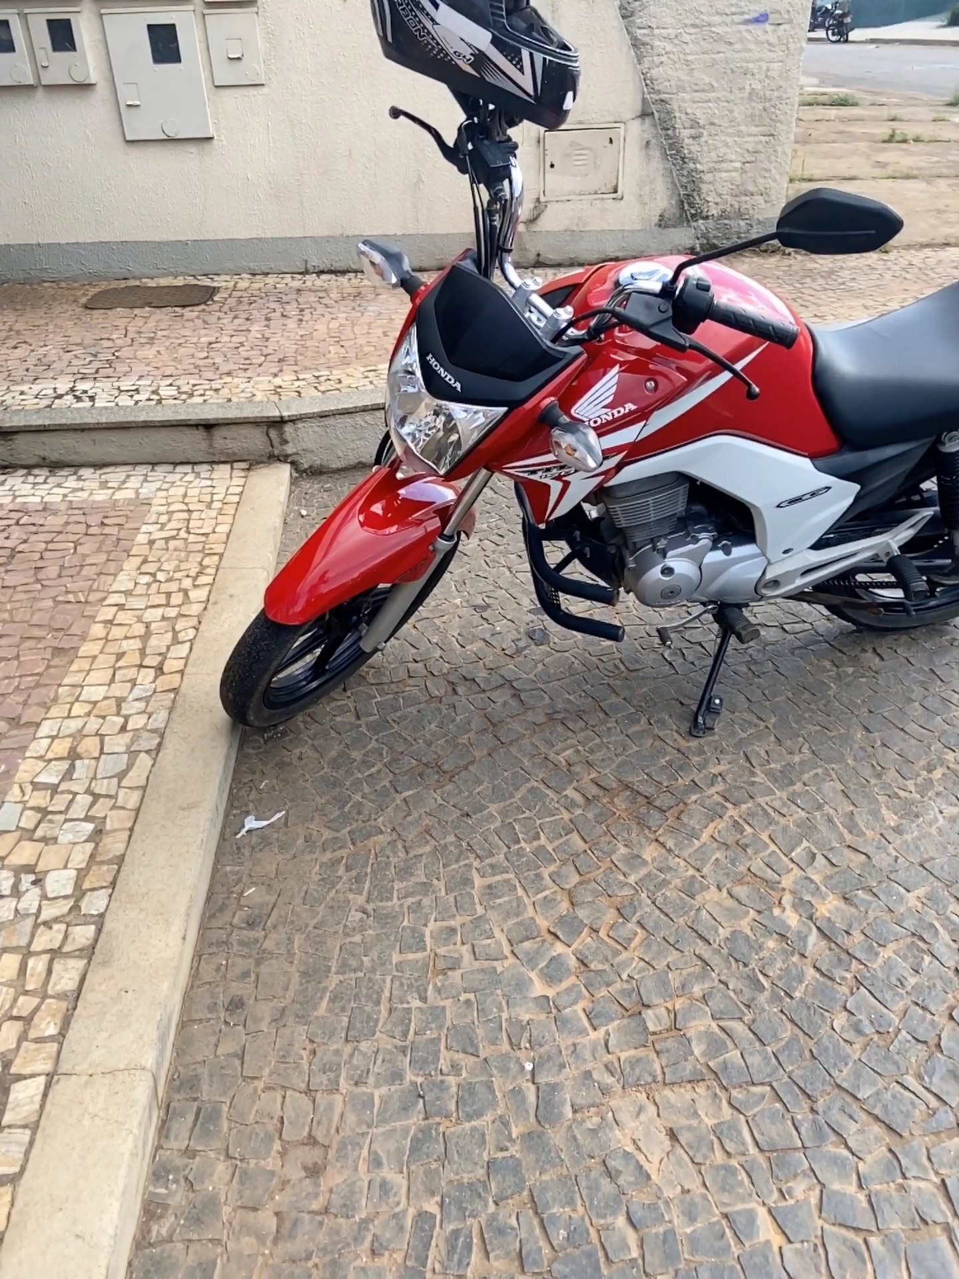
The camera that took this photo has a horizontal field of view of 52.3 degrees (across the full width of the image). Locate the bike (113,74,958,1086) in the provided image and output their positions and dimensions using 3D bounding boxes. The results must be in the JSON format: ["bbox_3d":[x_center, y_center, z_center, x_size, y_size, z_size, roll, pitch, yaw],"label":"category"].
[{"bbox_3d":[0.539,-0.273,1.922,2.072,1.382,0.813,-13,33,-18],"label":"bike"}]
